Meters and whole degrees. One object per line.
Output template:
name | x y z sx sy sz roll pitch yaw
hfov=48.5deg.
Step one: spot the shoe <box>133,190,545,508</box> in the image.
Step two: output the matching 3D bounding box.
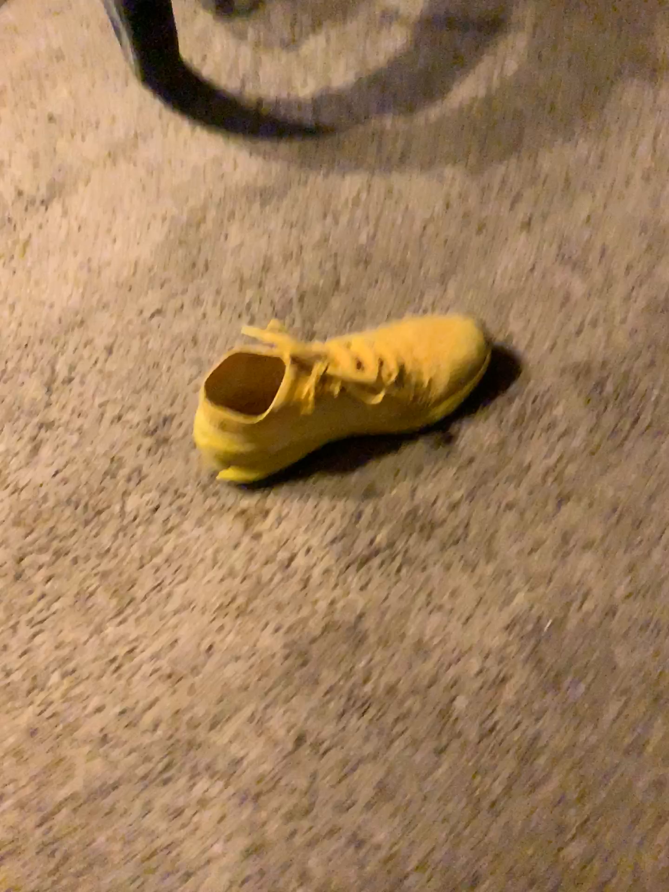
shoe | 0.006 -0.079 0.662 0.320 0.130 0.130 -20 61 3
